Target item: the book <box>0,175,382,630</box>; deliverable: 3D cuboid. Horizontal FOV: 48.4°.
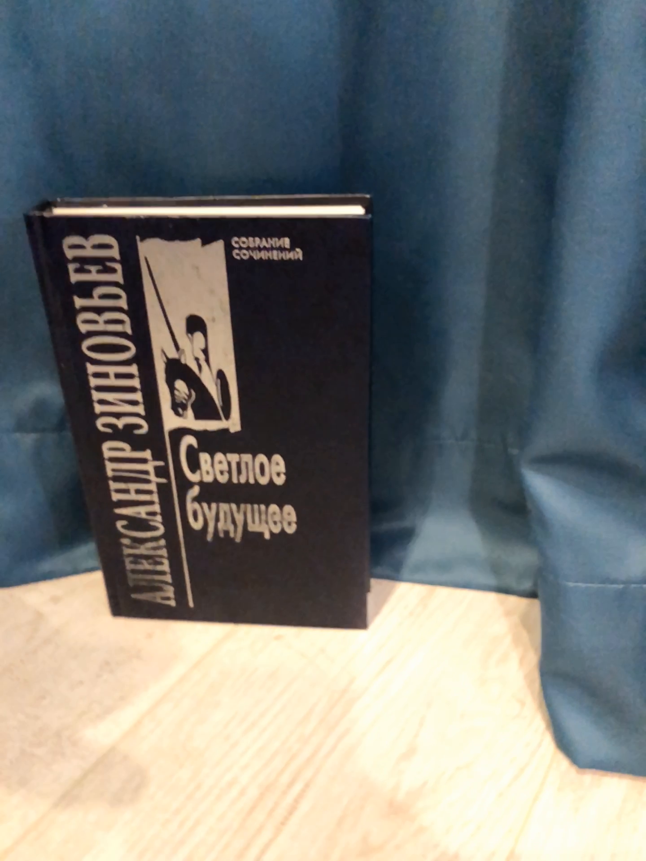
[{"bbox_3d":[-0.051,-0.005,0.317,0.150,0.199,0.040,1,28,5],"label":"book"}]
